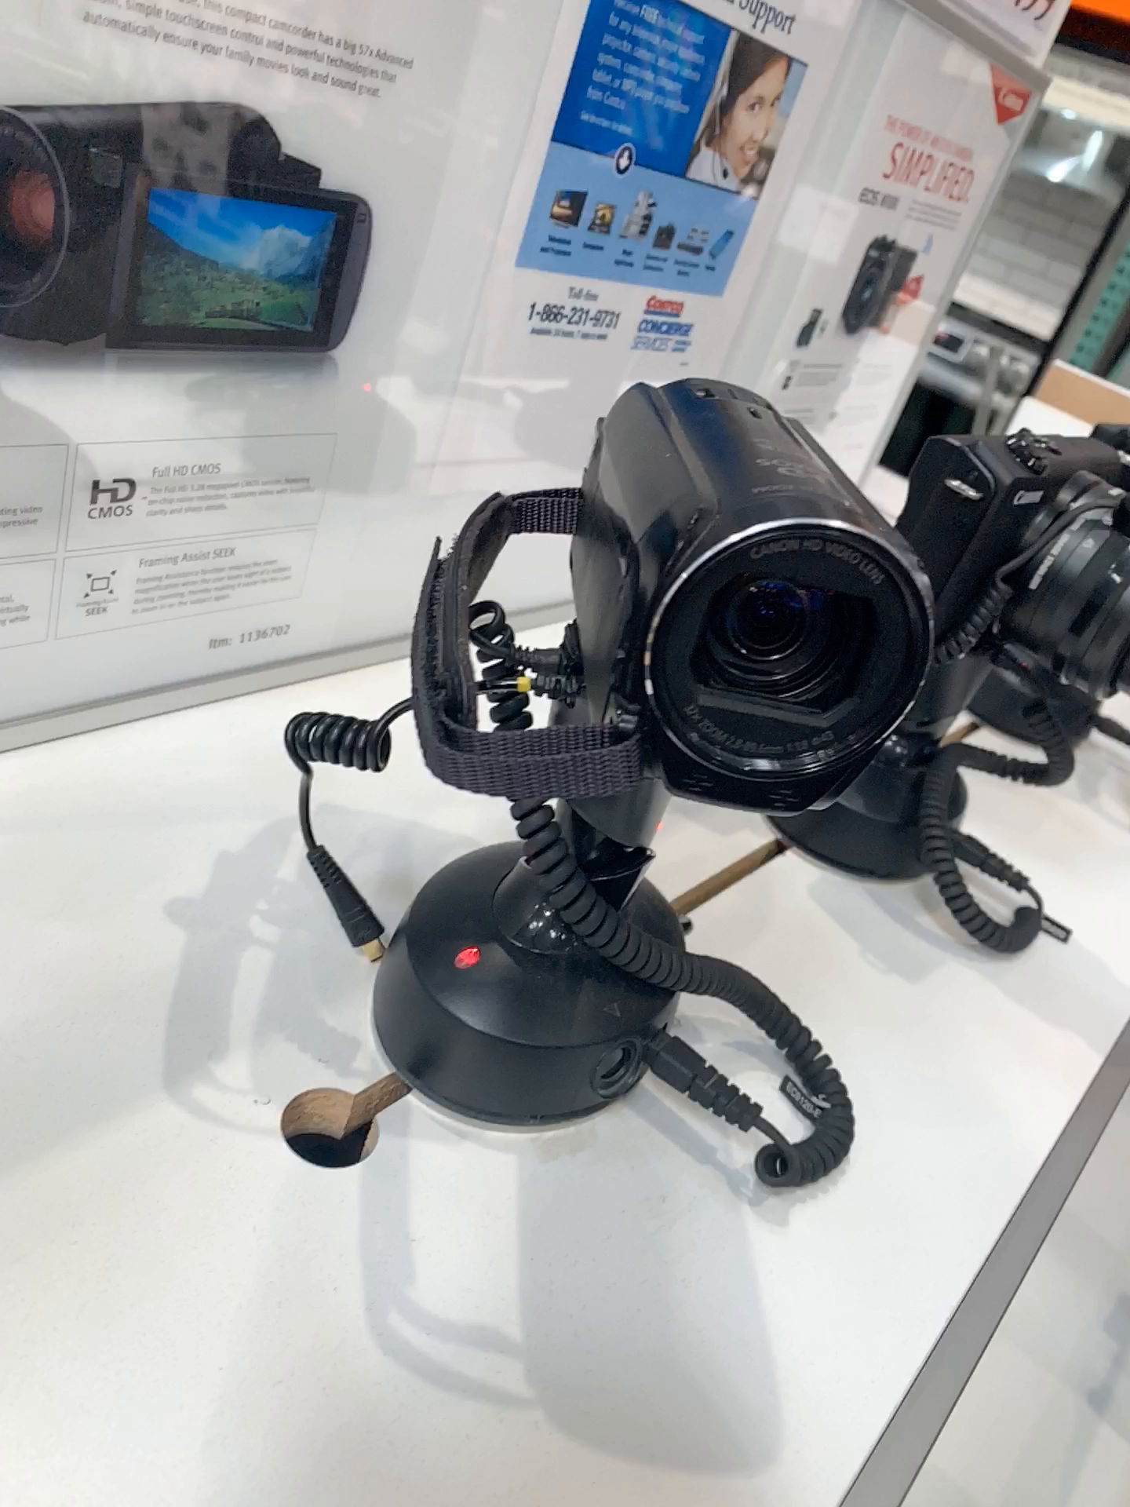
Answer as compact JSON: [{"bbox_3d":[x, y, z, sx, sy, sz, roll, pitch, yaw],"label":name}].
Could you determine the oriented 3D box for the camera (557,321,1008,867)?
[{"bbox_3d":[0.031,-0.040,0.233,0.050,0.050,0.126,14,30,-11],"label":"camera"}]
